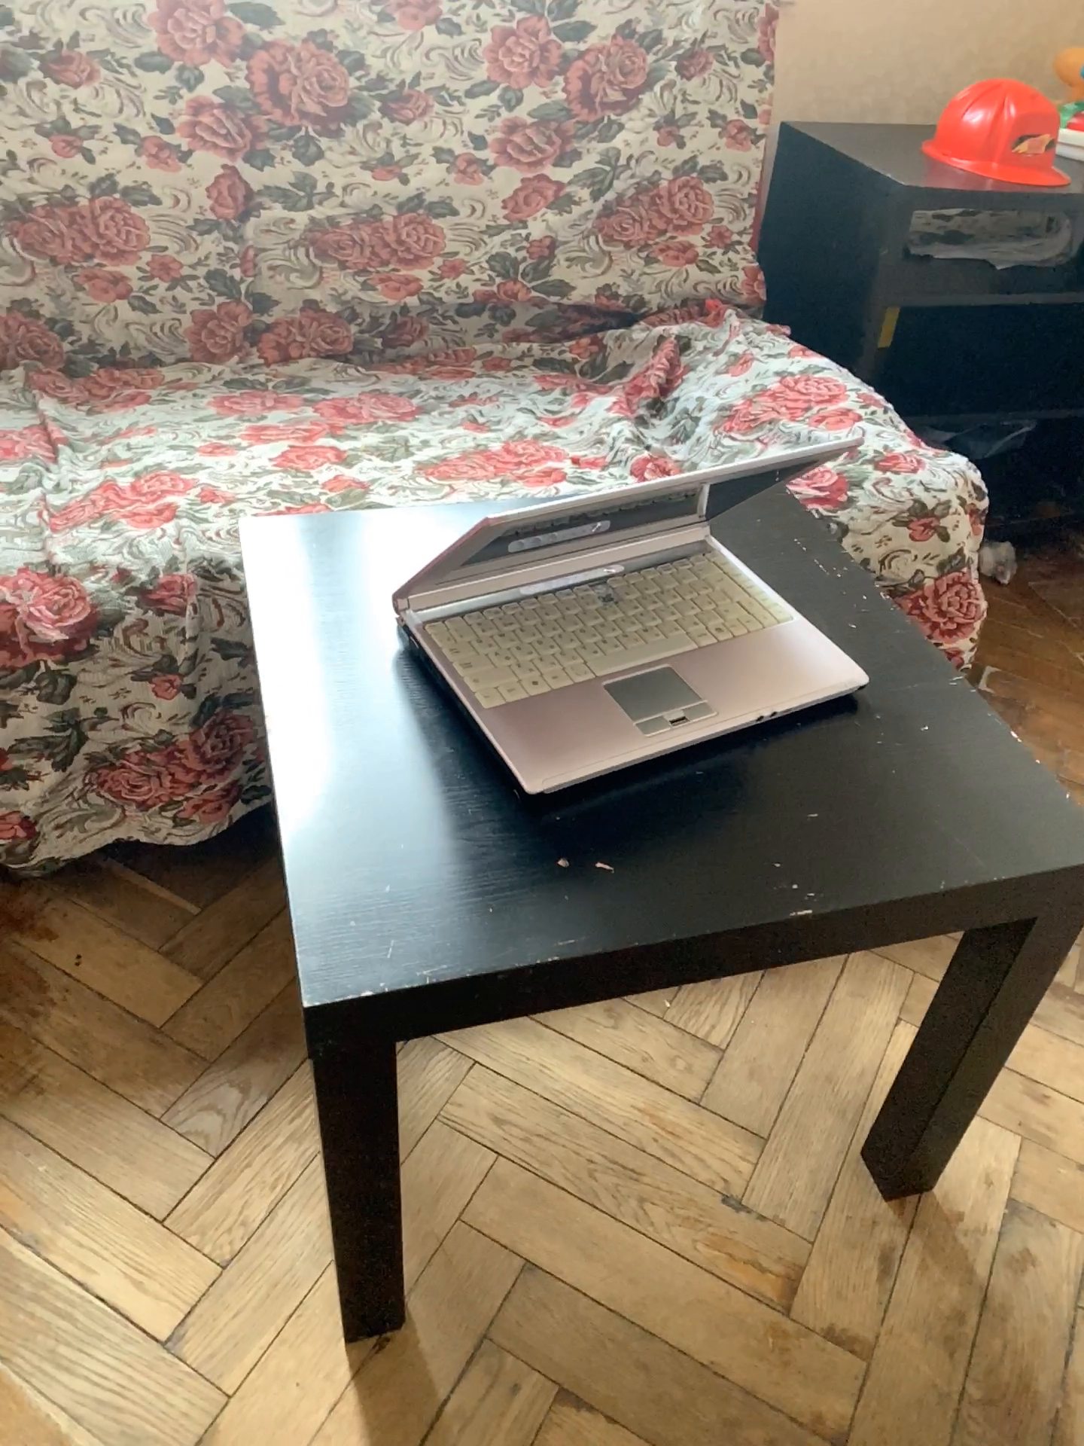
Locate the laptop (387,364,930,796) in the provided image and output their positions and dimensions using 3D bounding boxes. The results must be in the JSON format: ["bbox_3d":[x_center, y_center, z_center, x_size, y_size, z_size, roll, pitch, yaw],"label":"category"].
[{"bbox_3d":[0.074,-0.122,0.813,0.305,0.155,0.226,-17,45,-25],"label":"laptop"}]
